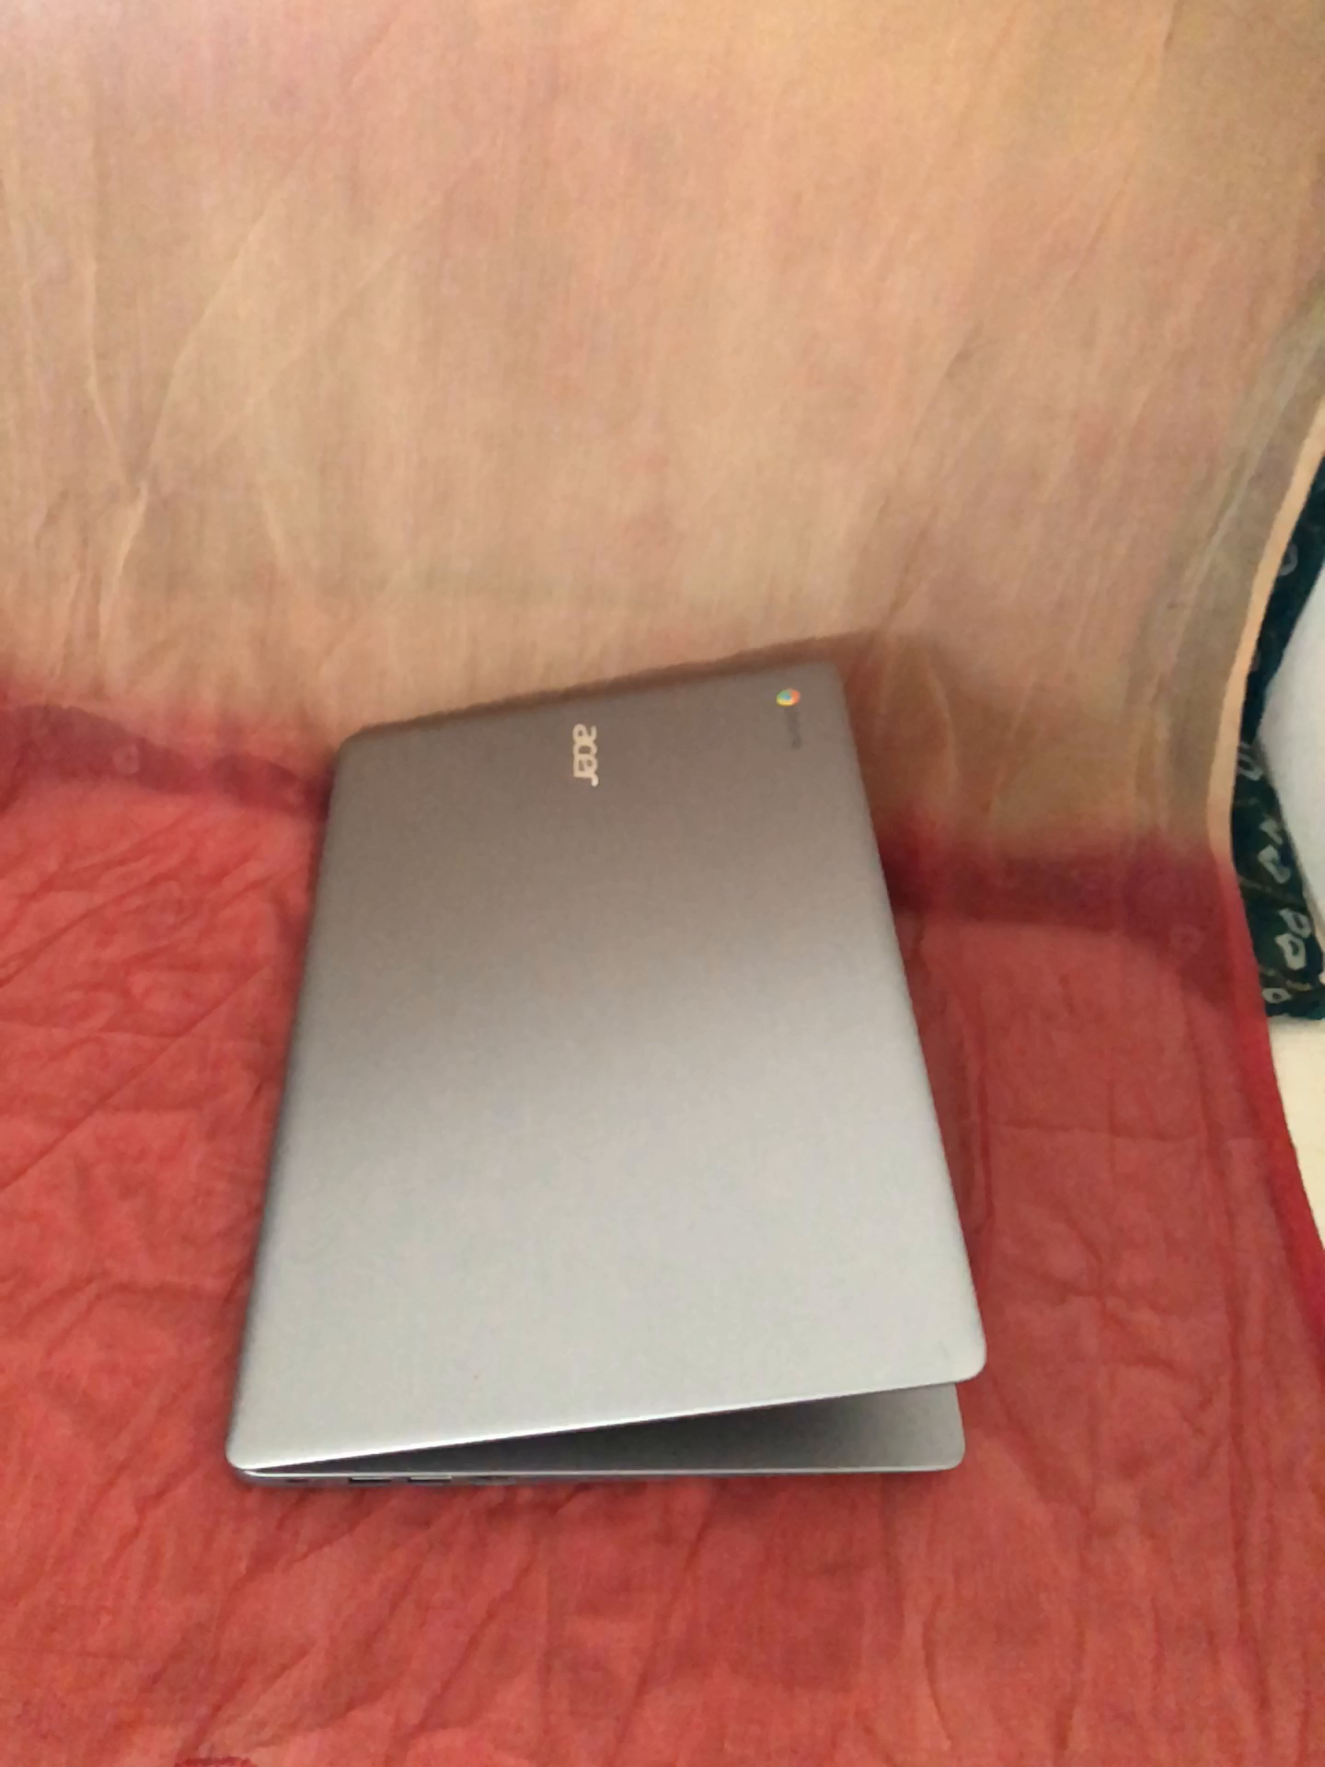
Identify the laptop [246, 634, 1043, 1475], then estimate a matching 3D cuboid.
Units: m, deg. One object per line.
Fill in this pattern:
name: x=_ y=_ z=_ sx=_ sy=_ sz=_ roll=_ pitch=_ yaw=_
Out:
laptop: x=-0.013 y=0.038 z=0.534 sx=0.219 sy=0.065 sz=0.324 roll=1 pitch=46 yaw=-4
